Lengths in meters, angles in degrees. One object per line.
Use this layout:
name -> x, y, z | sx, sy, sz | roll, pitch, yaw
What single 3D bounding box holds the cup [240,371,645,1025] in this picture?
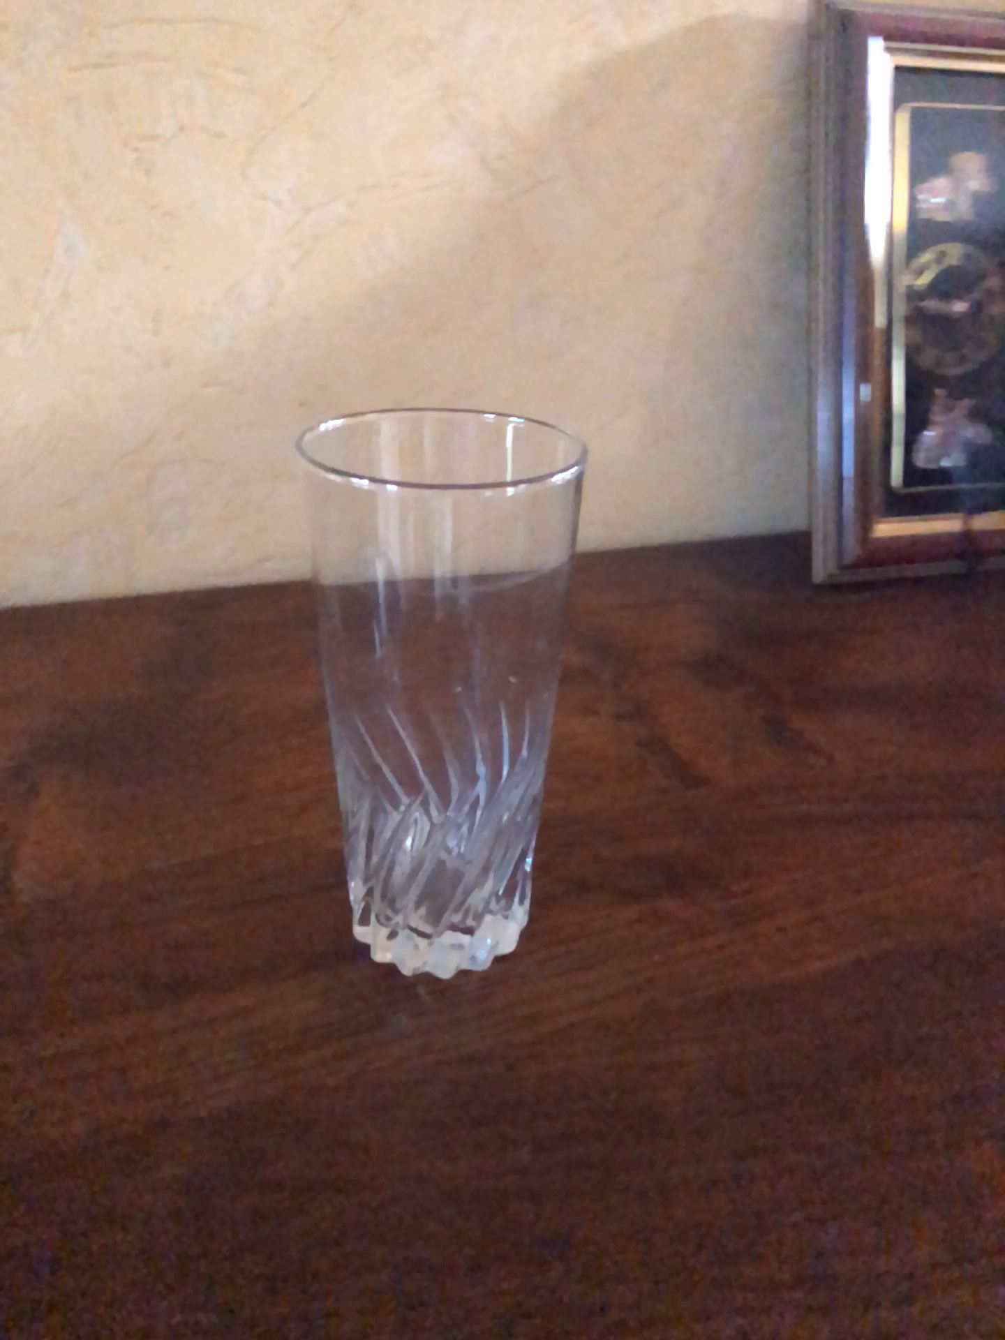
cup -> -0.016, 0.004, 0.303 | 0.070, 0.149, 0.070 | 2, 26, -1
